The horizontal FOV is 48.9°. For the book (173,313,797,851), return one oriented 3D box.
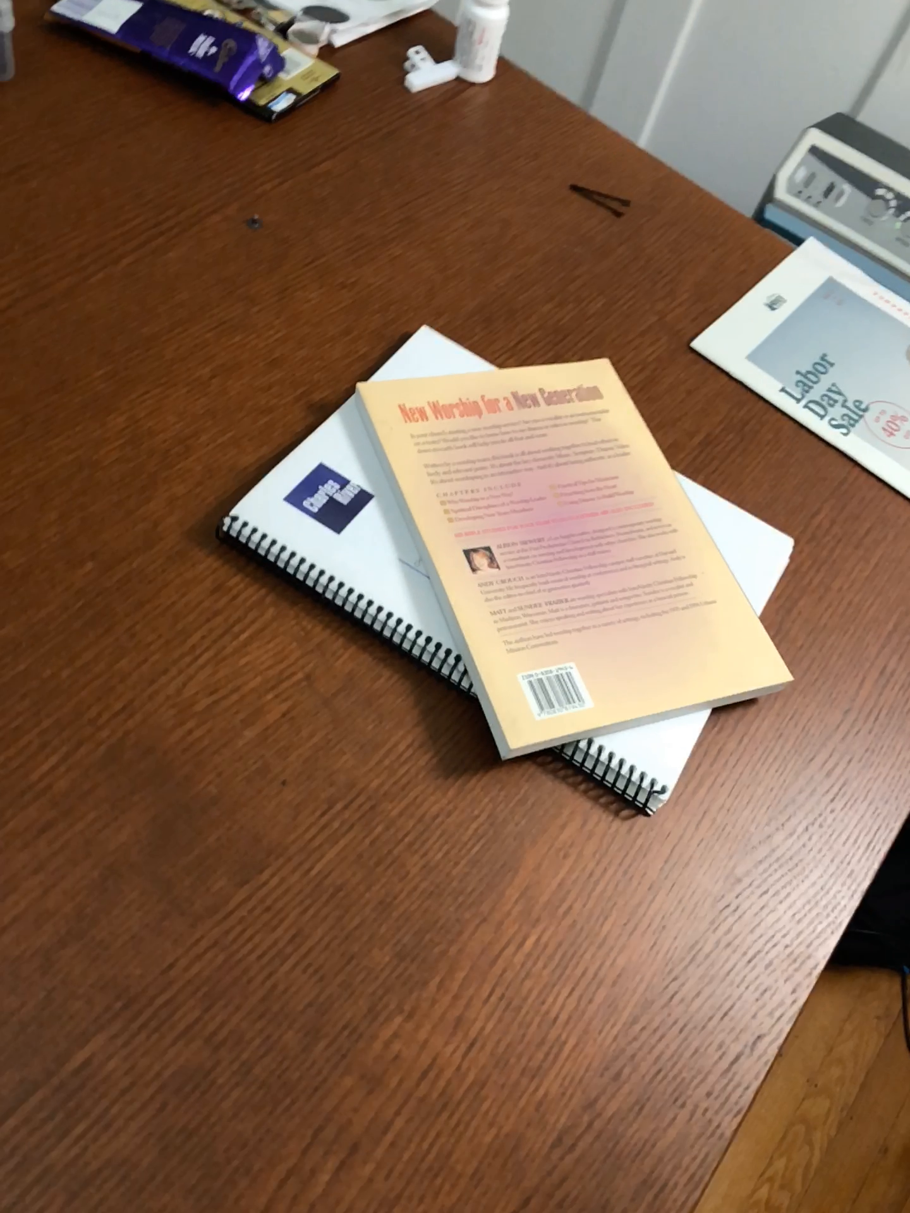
[{"bbox_3d":[0.030,-0.034,0.579,0.290,0.020,0.231,32,55,7],"label":"book"}]

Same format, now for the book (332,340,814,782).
[{"bbox_3d":[0.060,-0.045,0.572,0.190,0.020,0.261,-11,61,-21],"label":"book"}]

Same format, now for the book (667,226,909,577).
[{"bbox_3d":[0.315,-0.163,0.727,0.270,0.010,0.201,38,56,12],"label":"book"}]
